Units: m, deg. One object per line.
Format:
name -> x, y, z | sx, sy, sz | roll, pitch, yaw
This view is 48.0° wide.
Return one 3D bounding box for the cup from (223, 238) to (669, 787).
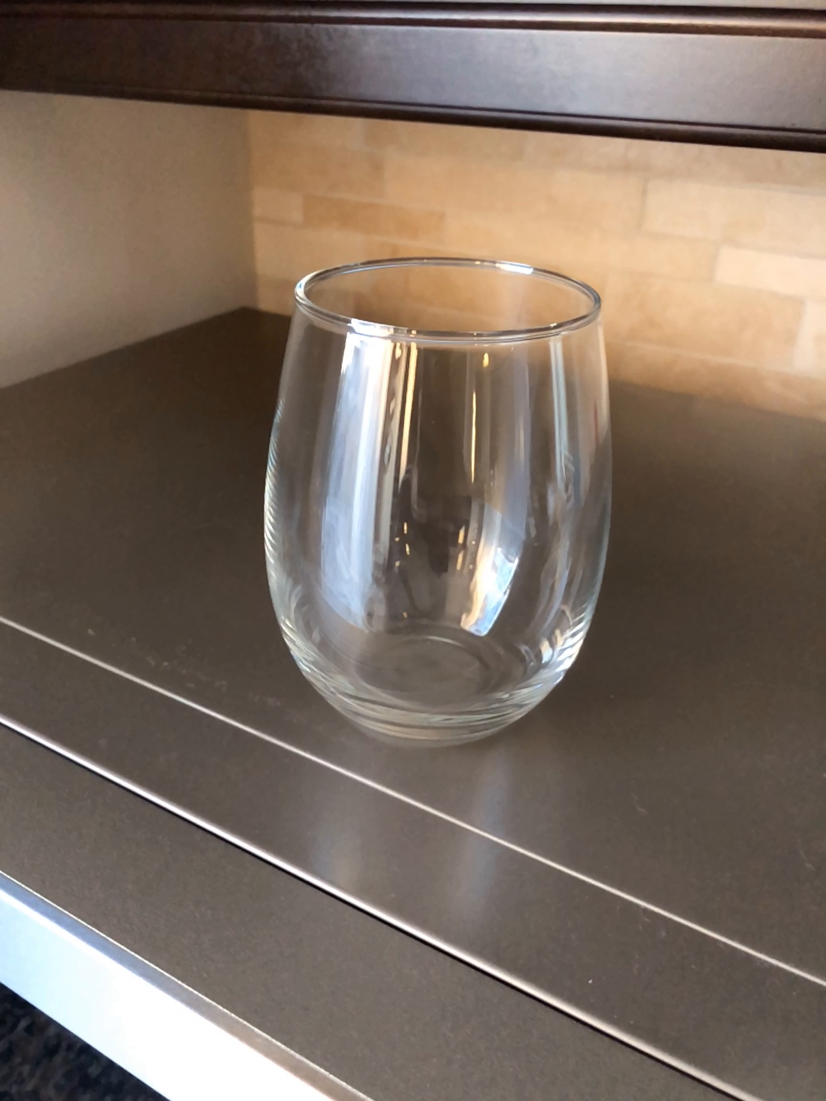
cup -> 0.011, -0.016, 0.241 | 0.078, 0.104, 0.083 | 1, 29, 0
